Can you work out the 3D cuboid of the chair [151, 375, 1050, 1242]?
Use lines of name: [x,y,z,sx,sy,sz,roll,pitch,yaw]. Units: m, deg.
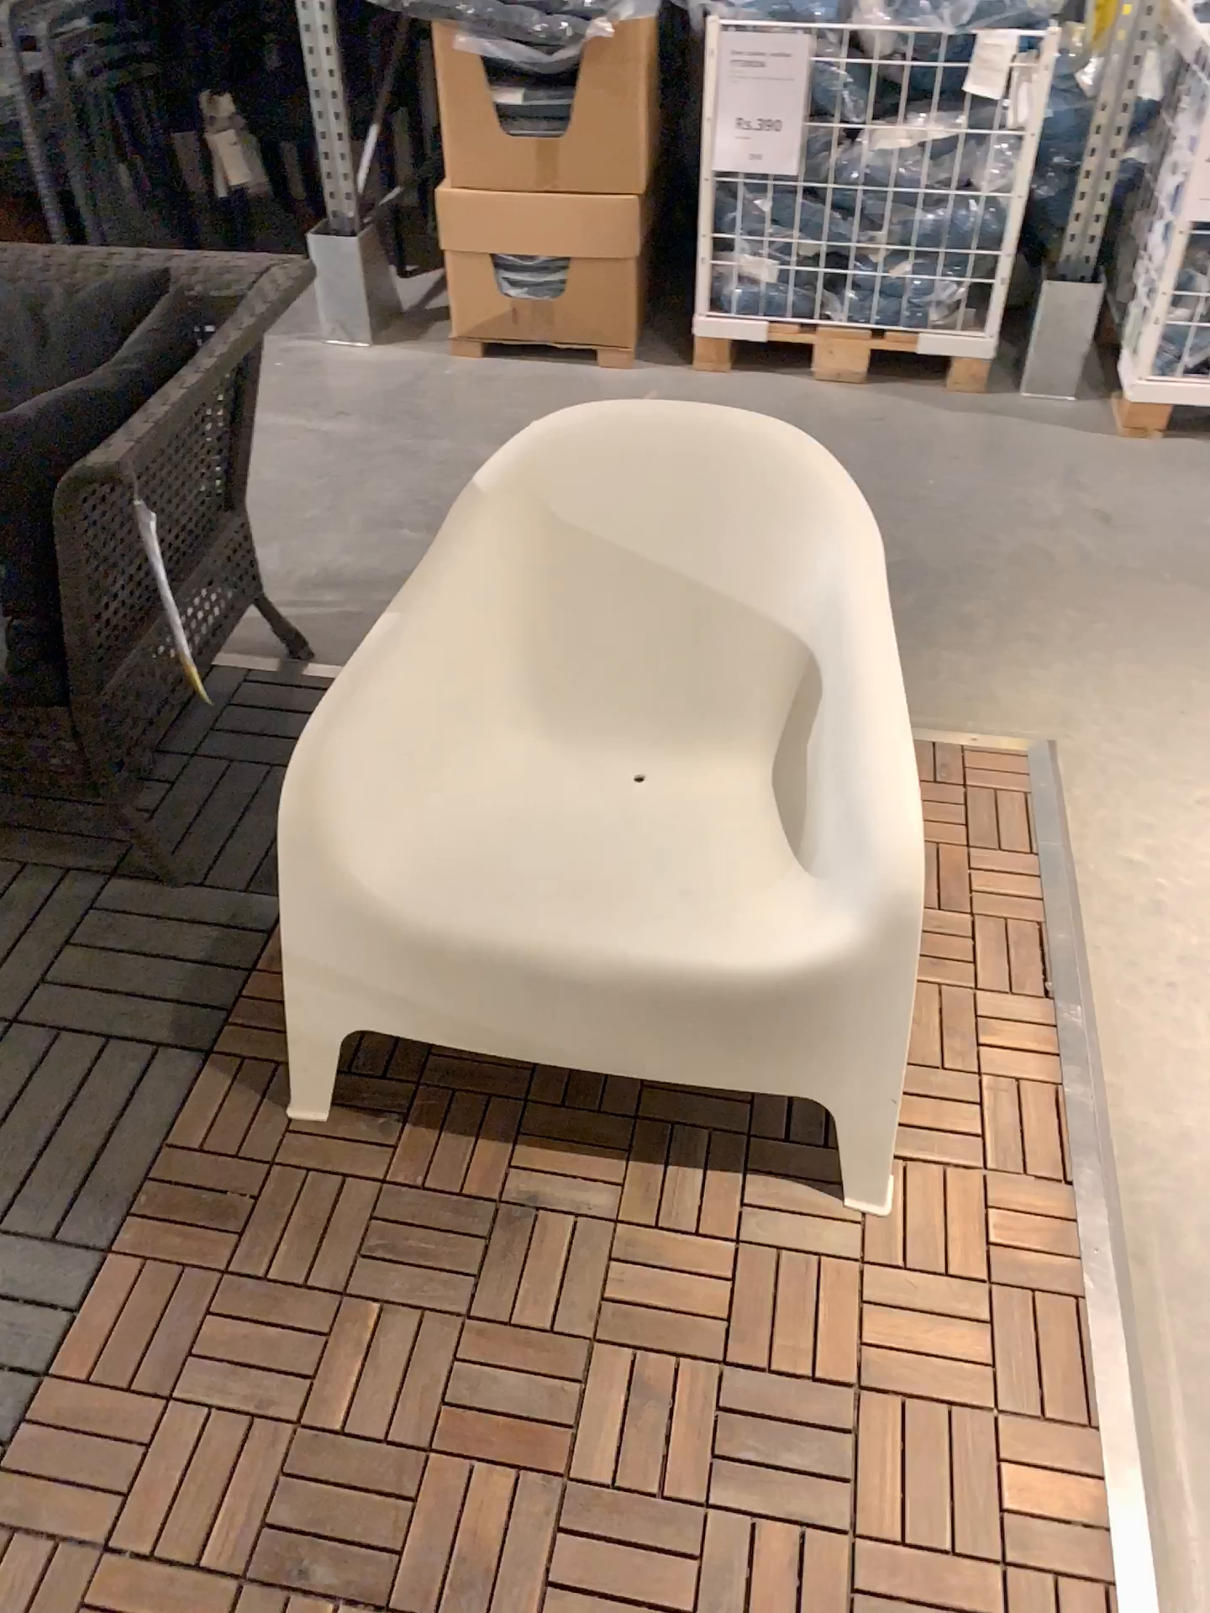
chair: [0.052,-0.041,1.523,0.770,0.637,0.763,7,42,9]
